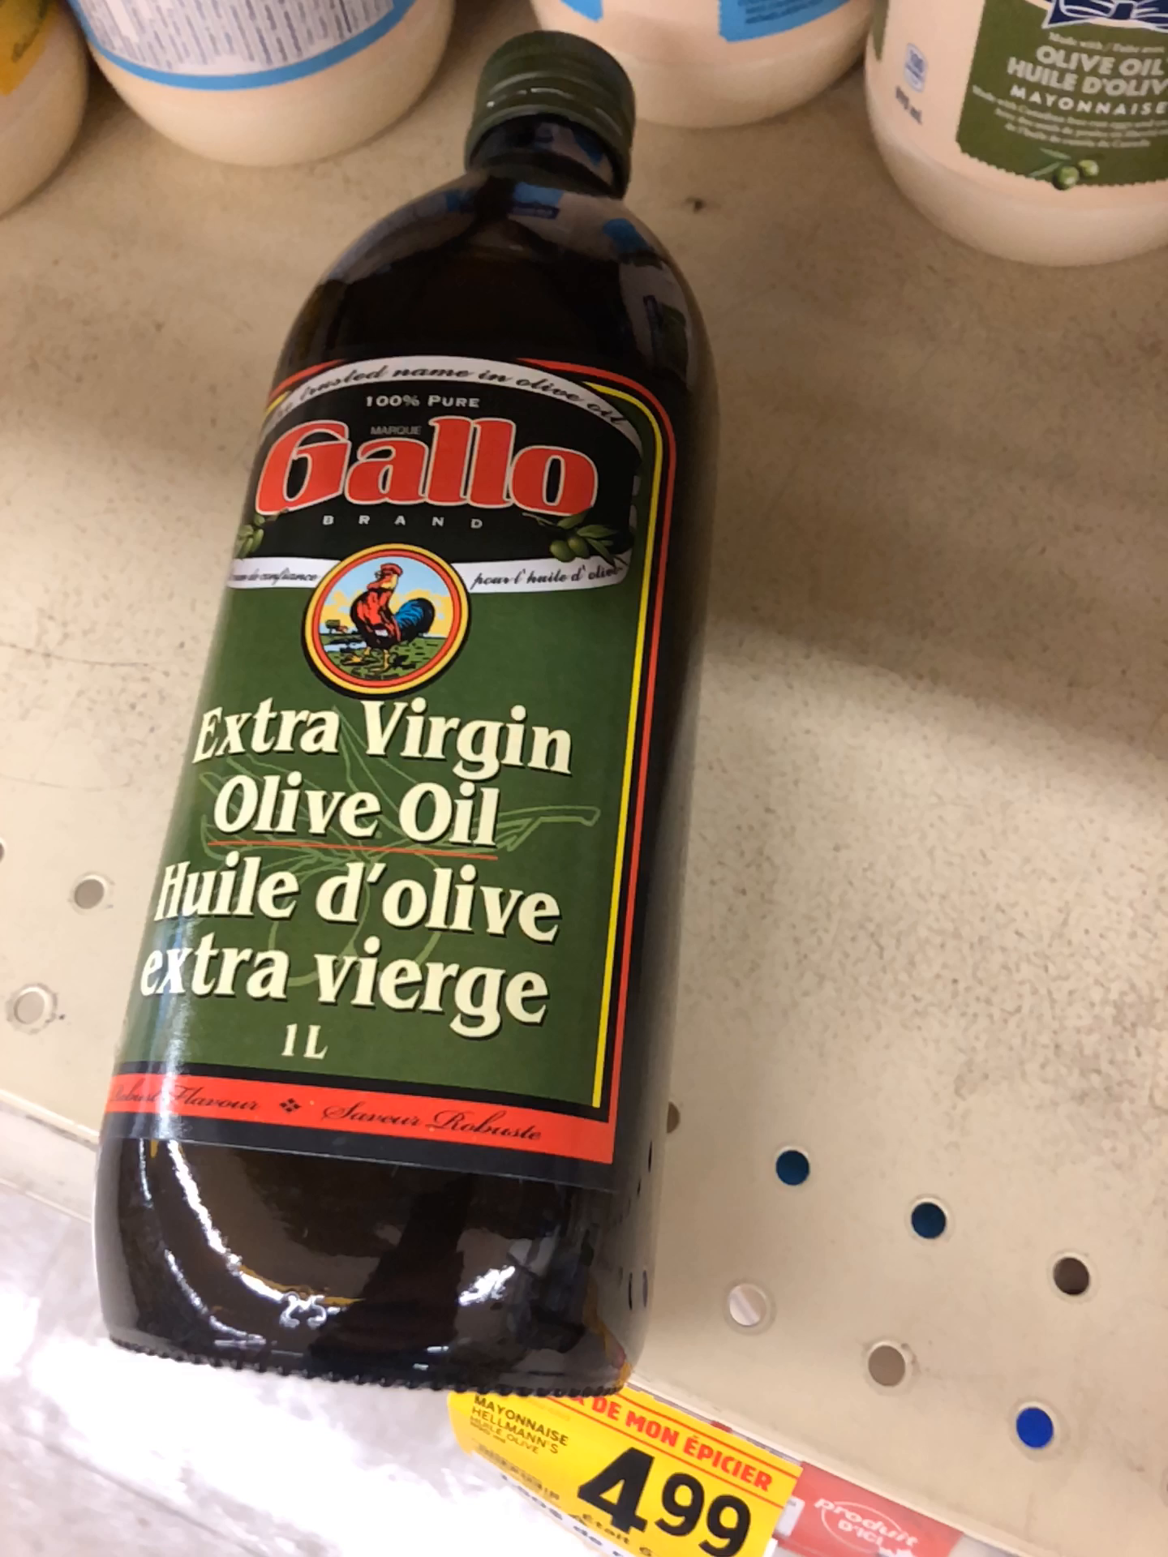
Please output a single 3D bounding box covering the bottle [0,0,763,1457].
[{"bbox_3d":[-0.021,-0.038,0.238,0.090,0.090,0.271,4,68,8],"label":"bottle"}]
